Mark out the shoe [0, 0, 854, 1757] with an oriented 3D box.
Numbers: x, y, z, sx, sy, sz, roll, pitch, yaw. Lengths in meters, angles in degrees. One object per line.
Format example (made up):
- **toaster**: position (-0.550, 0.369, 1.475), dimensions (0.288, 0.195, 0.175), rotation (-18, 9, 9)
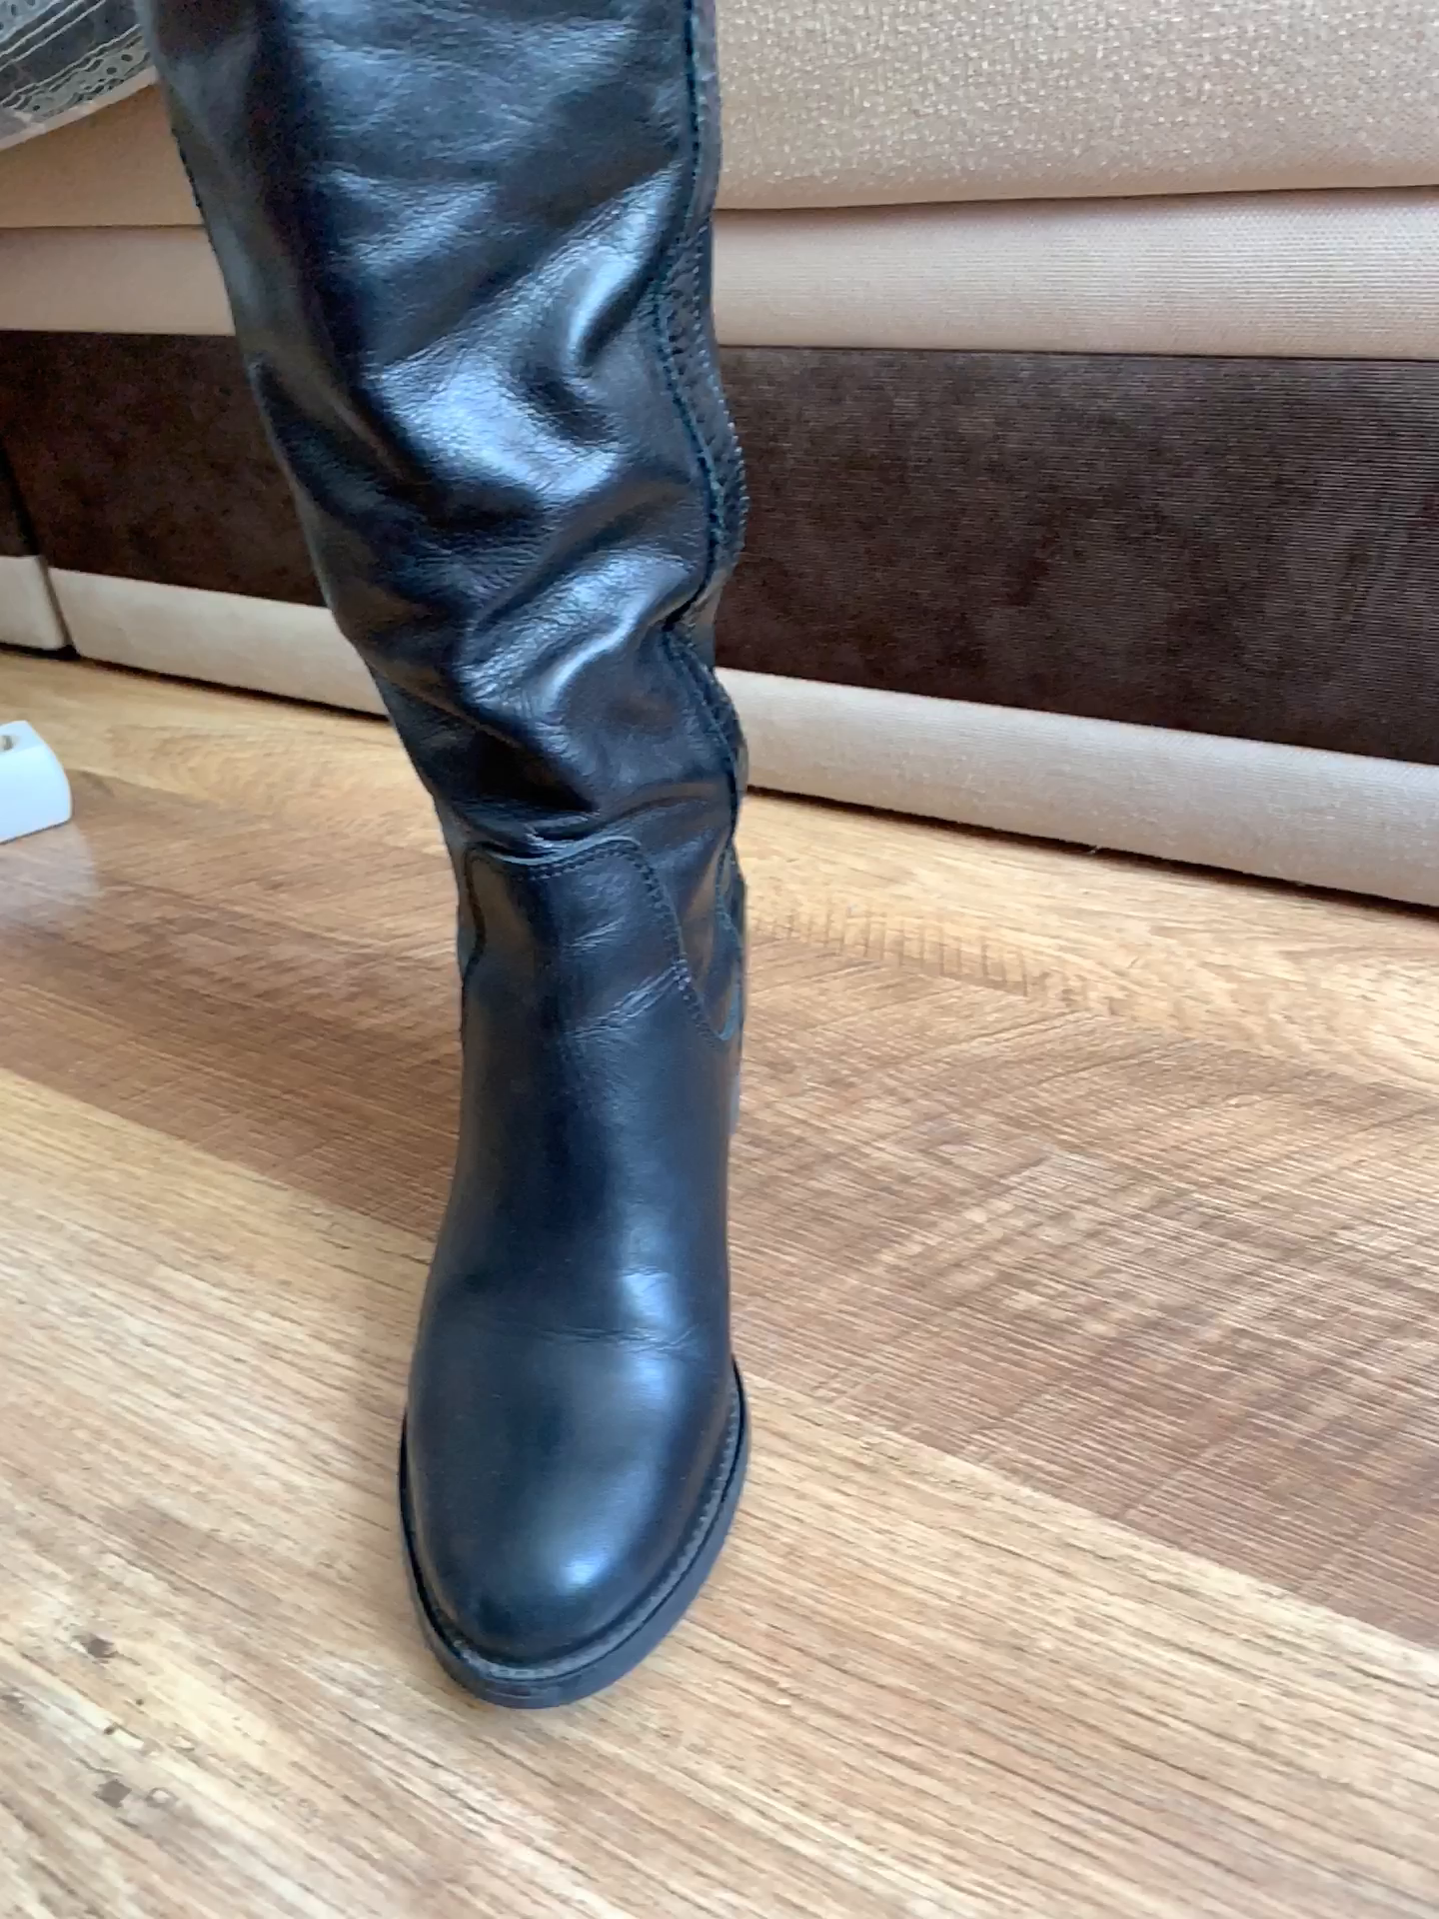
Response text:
- **shoe**: position (-0.041, -0.114, 0.247), dimensions (0.100, 0.497, 0.211), rotation (0, 32, 8)
